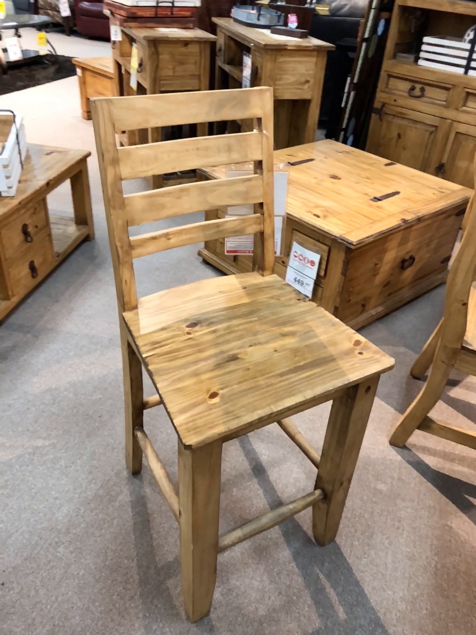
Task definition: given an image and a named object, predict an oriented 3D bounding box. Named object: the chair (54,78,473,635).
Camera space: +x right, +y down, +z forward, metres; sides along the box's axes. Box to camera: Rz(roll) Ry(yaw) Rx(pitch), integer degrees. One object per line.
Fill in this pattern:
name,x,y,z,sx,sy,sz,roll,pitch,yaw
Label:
chair,-0.014,0.095,1.126,0.471,1.013,0.523,-17,40,-26
